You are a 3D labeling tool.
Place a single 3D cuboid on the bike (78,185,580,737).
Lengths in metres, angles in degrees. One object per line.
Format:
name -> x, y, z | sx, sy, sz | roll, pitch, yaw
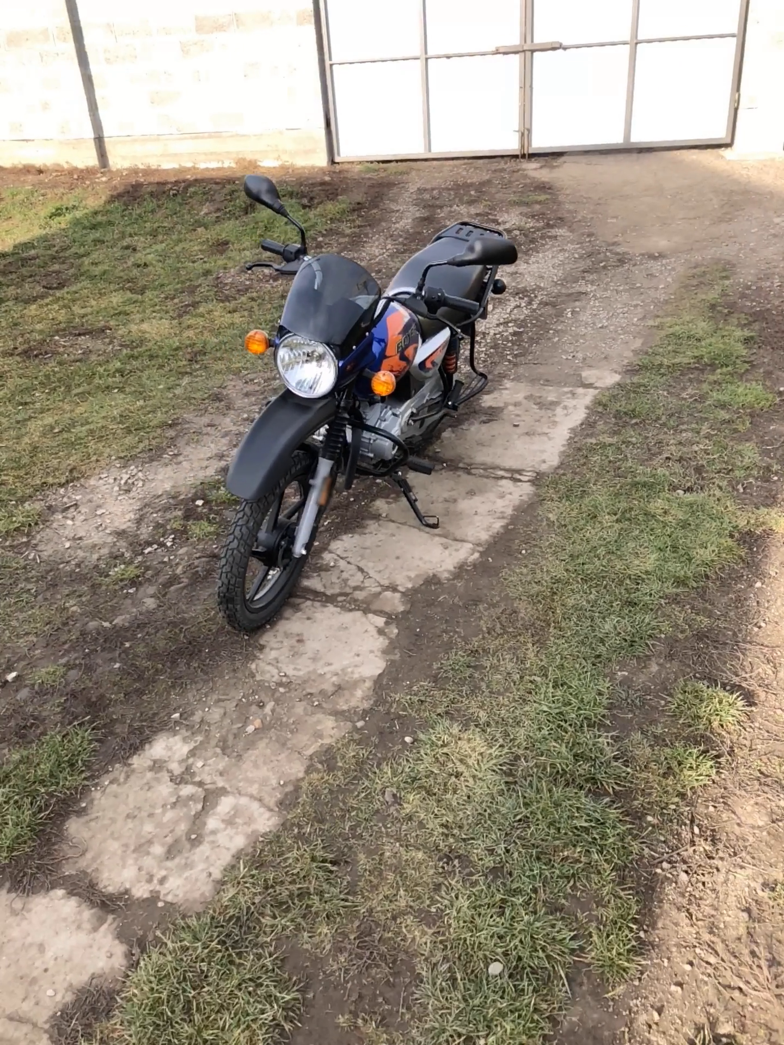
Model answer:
bike -> -0.011, -0.390, 2.910 | 0.807, 1.049, 1.790 | 10, 34, 22
